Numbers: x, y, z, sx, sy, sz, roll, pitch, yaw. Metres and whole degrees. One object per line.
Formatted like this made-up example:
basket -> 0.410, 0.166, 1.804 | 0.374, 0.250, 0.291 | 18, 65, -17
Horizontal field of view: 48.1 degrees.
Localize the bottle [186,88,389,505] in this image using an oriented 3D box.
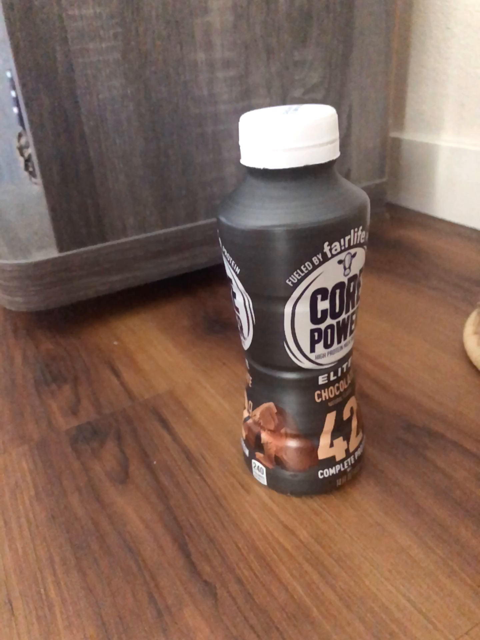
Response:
bottle -> 0.028, -0.006, 0.258 | 0.070, 0.184, 0.070 | -5, 27, 2
